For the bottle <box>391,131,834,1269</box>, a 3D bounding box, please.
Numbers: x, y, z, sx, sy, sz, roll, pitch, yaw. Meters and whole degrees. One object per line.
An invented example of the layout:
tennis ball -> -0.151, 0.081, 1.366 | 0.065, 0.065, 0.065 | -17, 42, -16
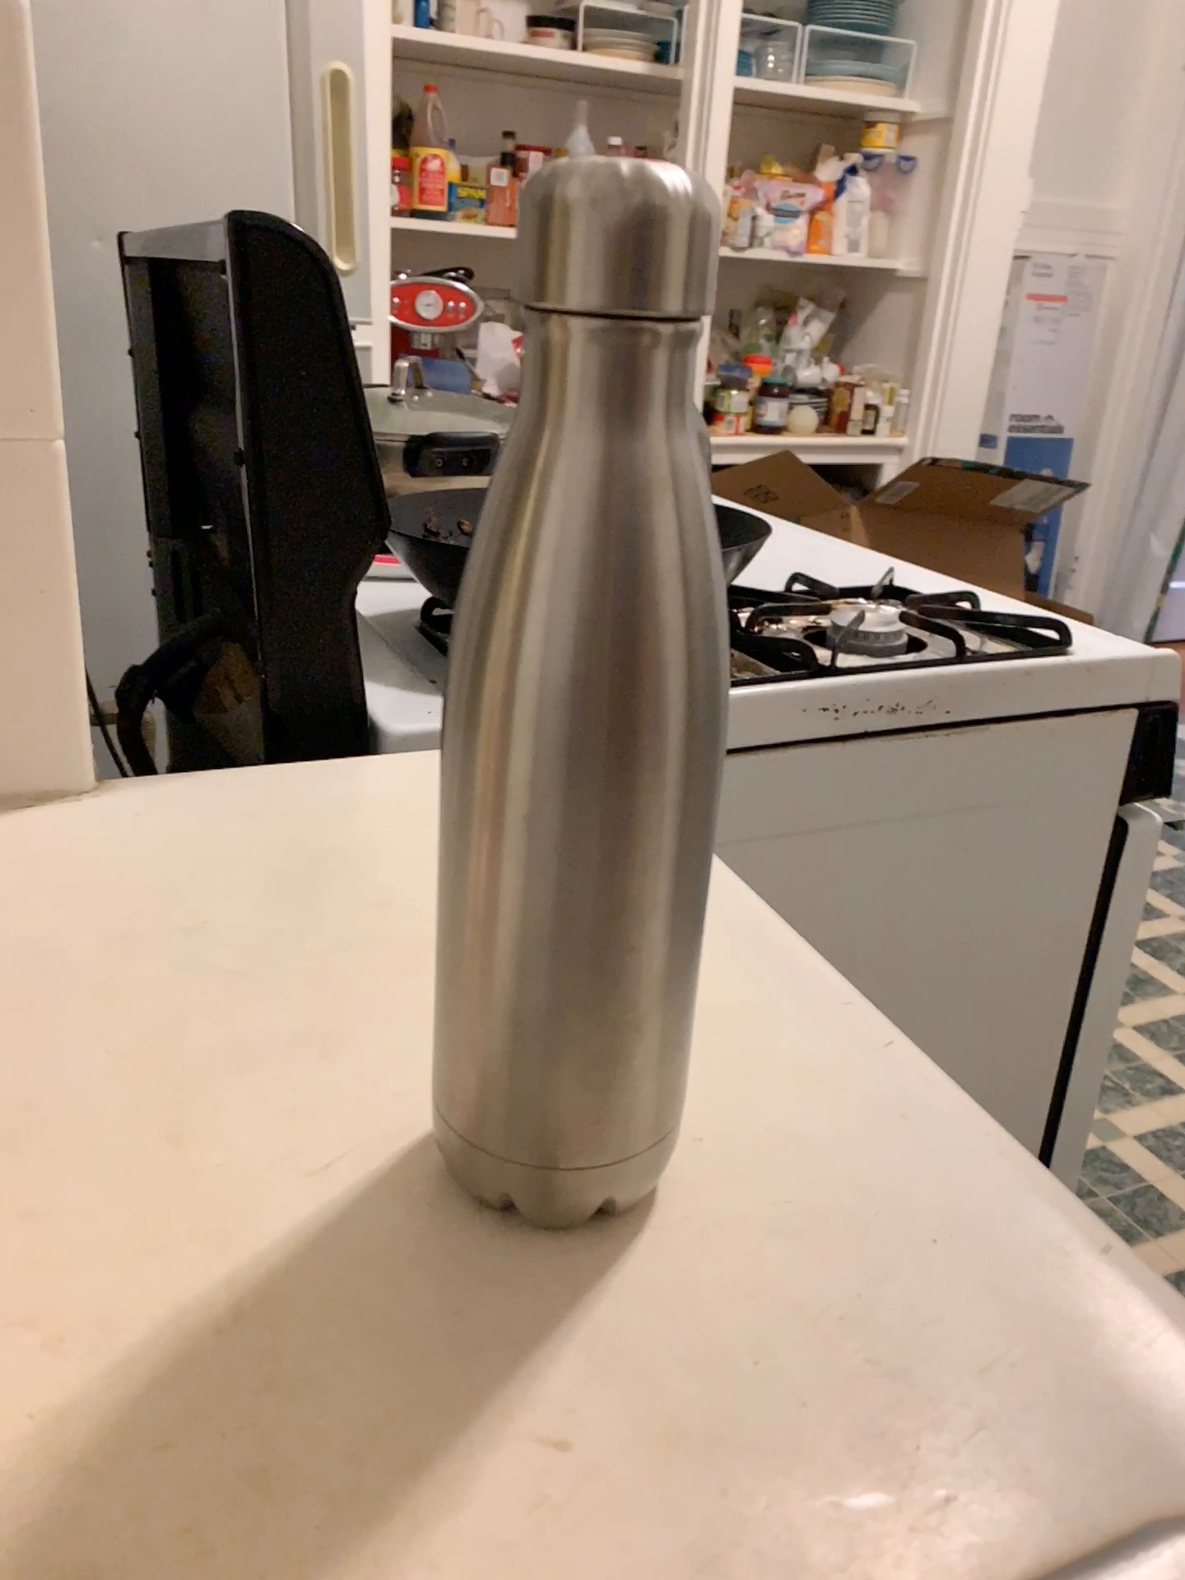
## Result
bottle -> -0.008, -0.012, 0.293 | 0.070, 0.249, 0.070 | 4, 23, -2
